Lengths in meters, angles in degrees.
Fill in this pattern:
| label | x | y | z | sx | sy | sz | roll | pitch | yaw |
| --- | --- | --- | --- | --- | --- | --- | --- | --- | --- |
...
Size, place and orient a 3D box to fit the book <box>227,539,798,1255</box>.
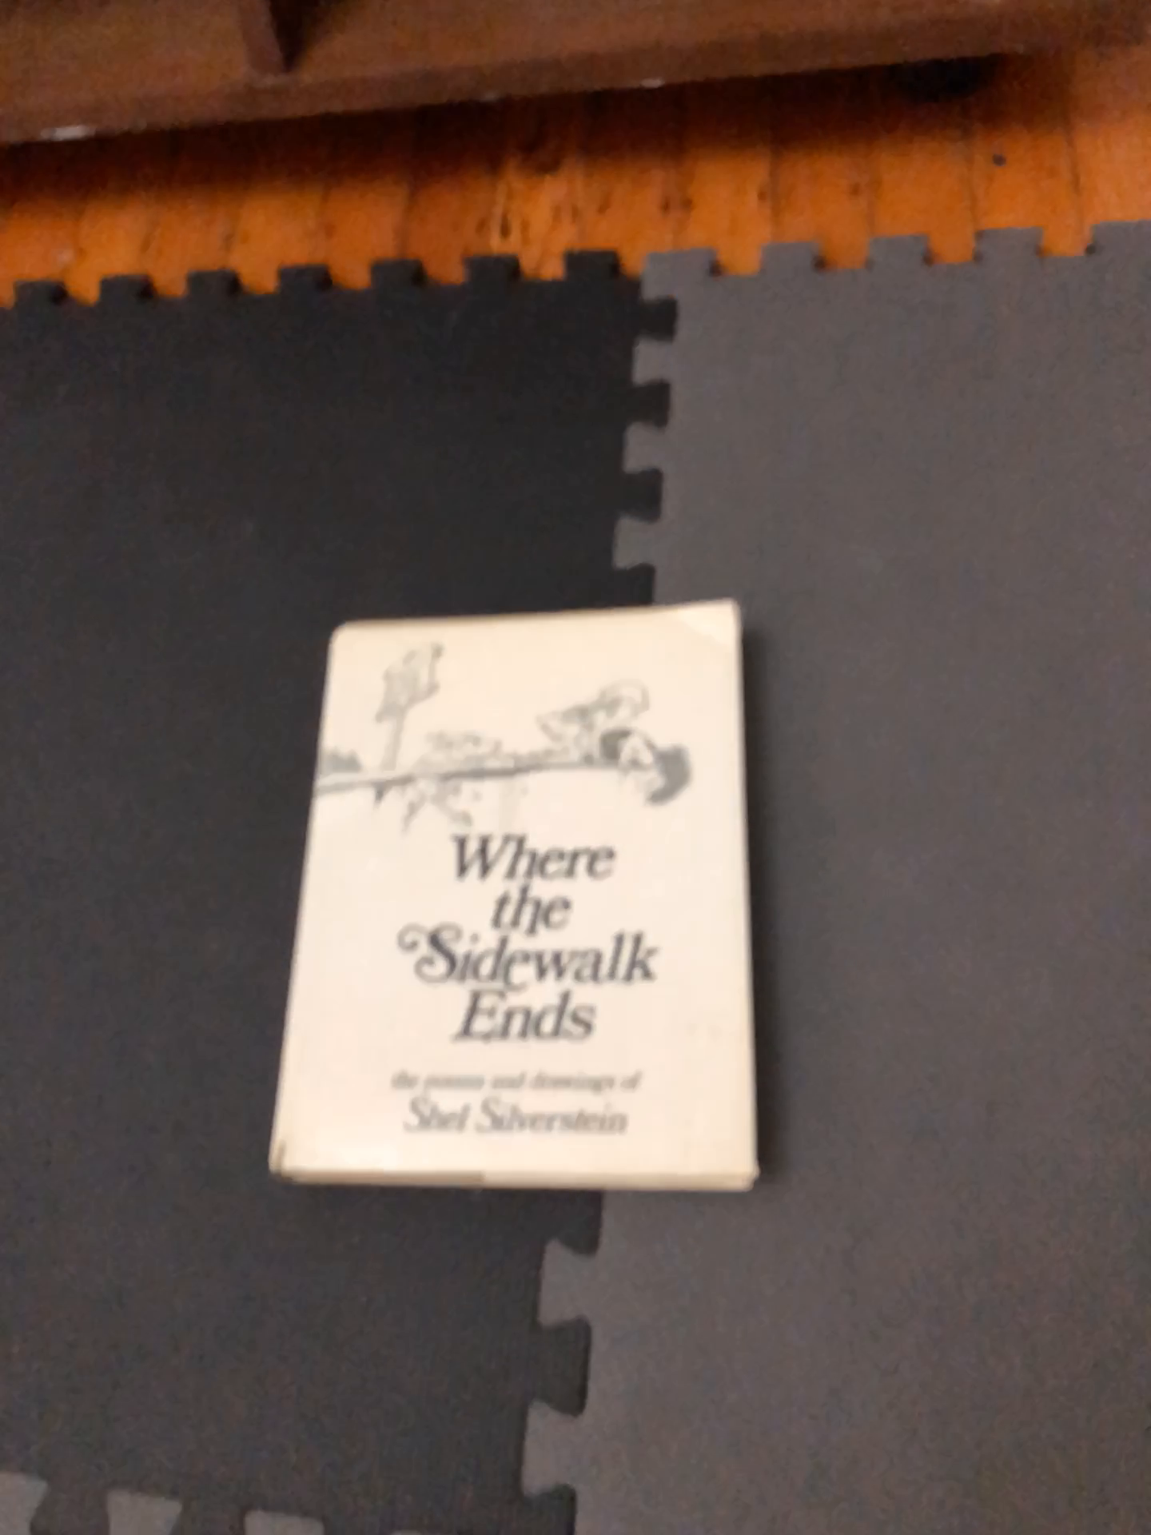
| label | x | y | z | sx | sy | sz | roll | pitch | yaw |
| --- | --- | --- | --- | --- | --- | --- | --- | --- | --- |
| book | -0.016 | 0.040 | 0.515 | 0.200 | 0.030 | 0.281 | -2 | 65 | 10 |
